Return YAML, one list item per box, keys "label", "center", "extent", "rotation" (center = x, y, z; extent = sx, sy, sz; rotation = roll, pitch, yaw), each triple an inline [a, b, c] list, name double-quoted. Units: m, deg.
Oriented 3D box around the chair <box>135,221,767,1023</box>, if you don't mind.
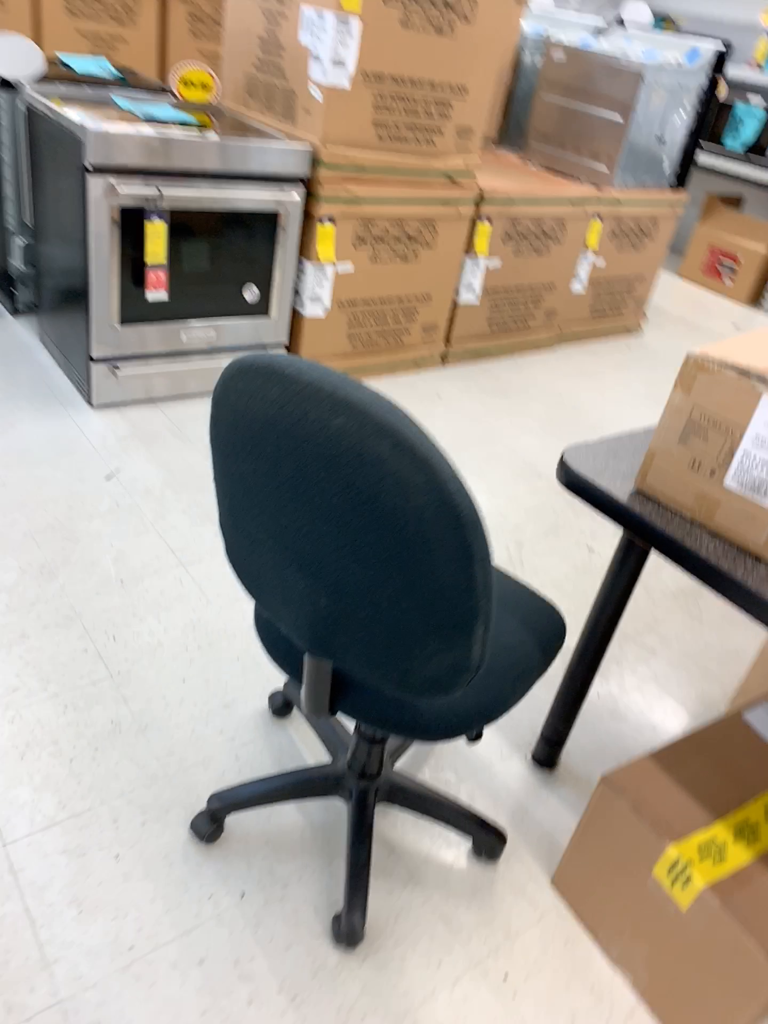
- label: "chair"
  center: [0.045, 0.137, 1.254]
  extent: [0.601, 0.965, 0.602]
  rotation: [28, 36, 25]
